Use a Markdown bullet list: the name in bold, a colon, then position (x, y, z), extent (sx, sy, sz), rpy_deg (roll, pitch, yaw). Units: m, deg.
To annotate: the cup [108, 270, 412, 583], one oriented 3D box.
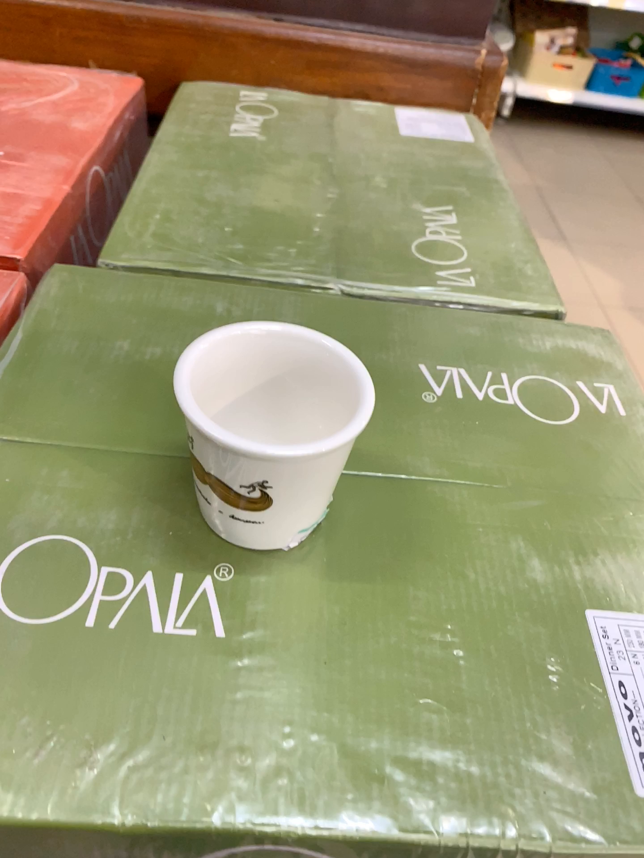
- **cup**: position (-0.021, -0.004, 0.238), extent (0.070, 0.060, 0.070), rpy_deg (5, 43, -4)
